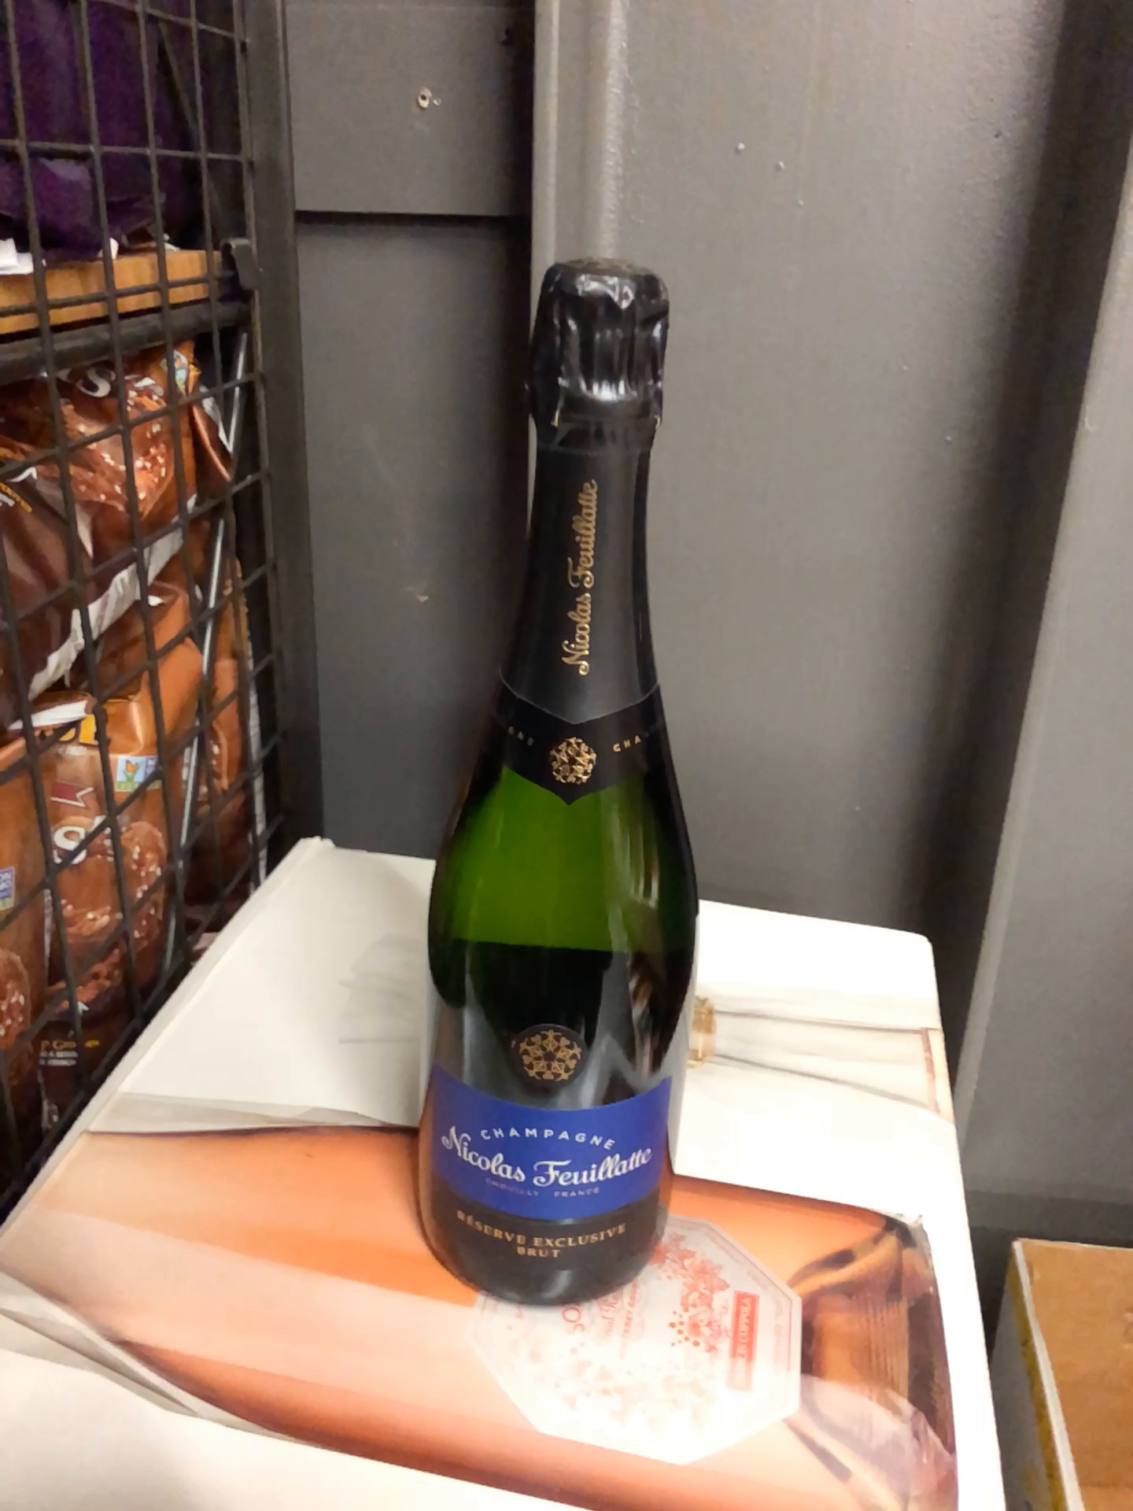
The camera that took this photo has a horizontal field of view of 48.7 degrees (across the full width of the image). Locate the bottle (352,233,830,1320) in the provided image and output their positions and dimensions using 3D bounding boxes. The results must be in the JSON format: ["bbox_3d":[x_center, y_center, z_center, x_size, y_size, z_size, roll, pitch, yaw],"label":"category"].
[{"bbox_3d":[-0.001,0.014,0.362,0.100,0.299,0.090,3,24,0],"label":"bottle"}]
